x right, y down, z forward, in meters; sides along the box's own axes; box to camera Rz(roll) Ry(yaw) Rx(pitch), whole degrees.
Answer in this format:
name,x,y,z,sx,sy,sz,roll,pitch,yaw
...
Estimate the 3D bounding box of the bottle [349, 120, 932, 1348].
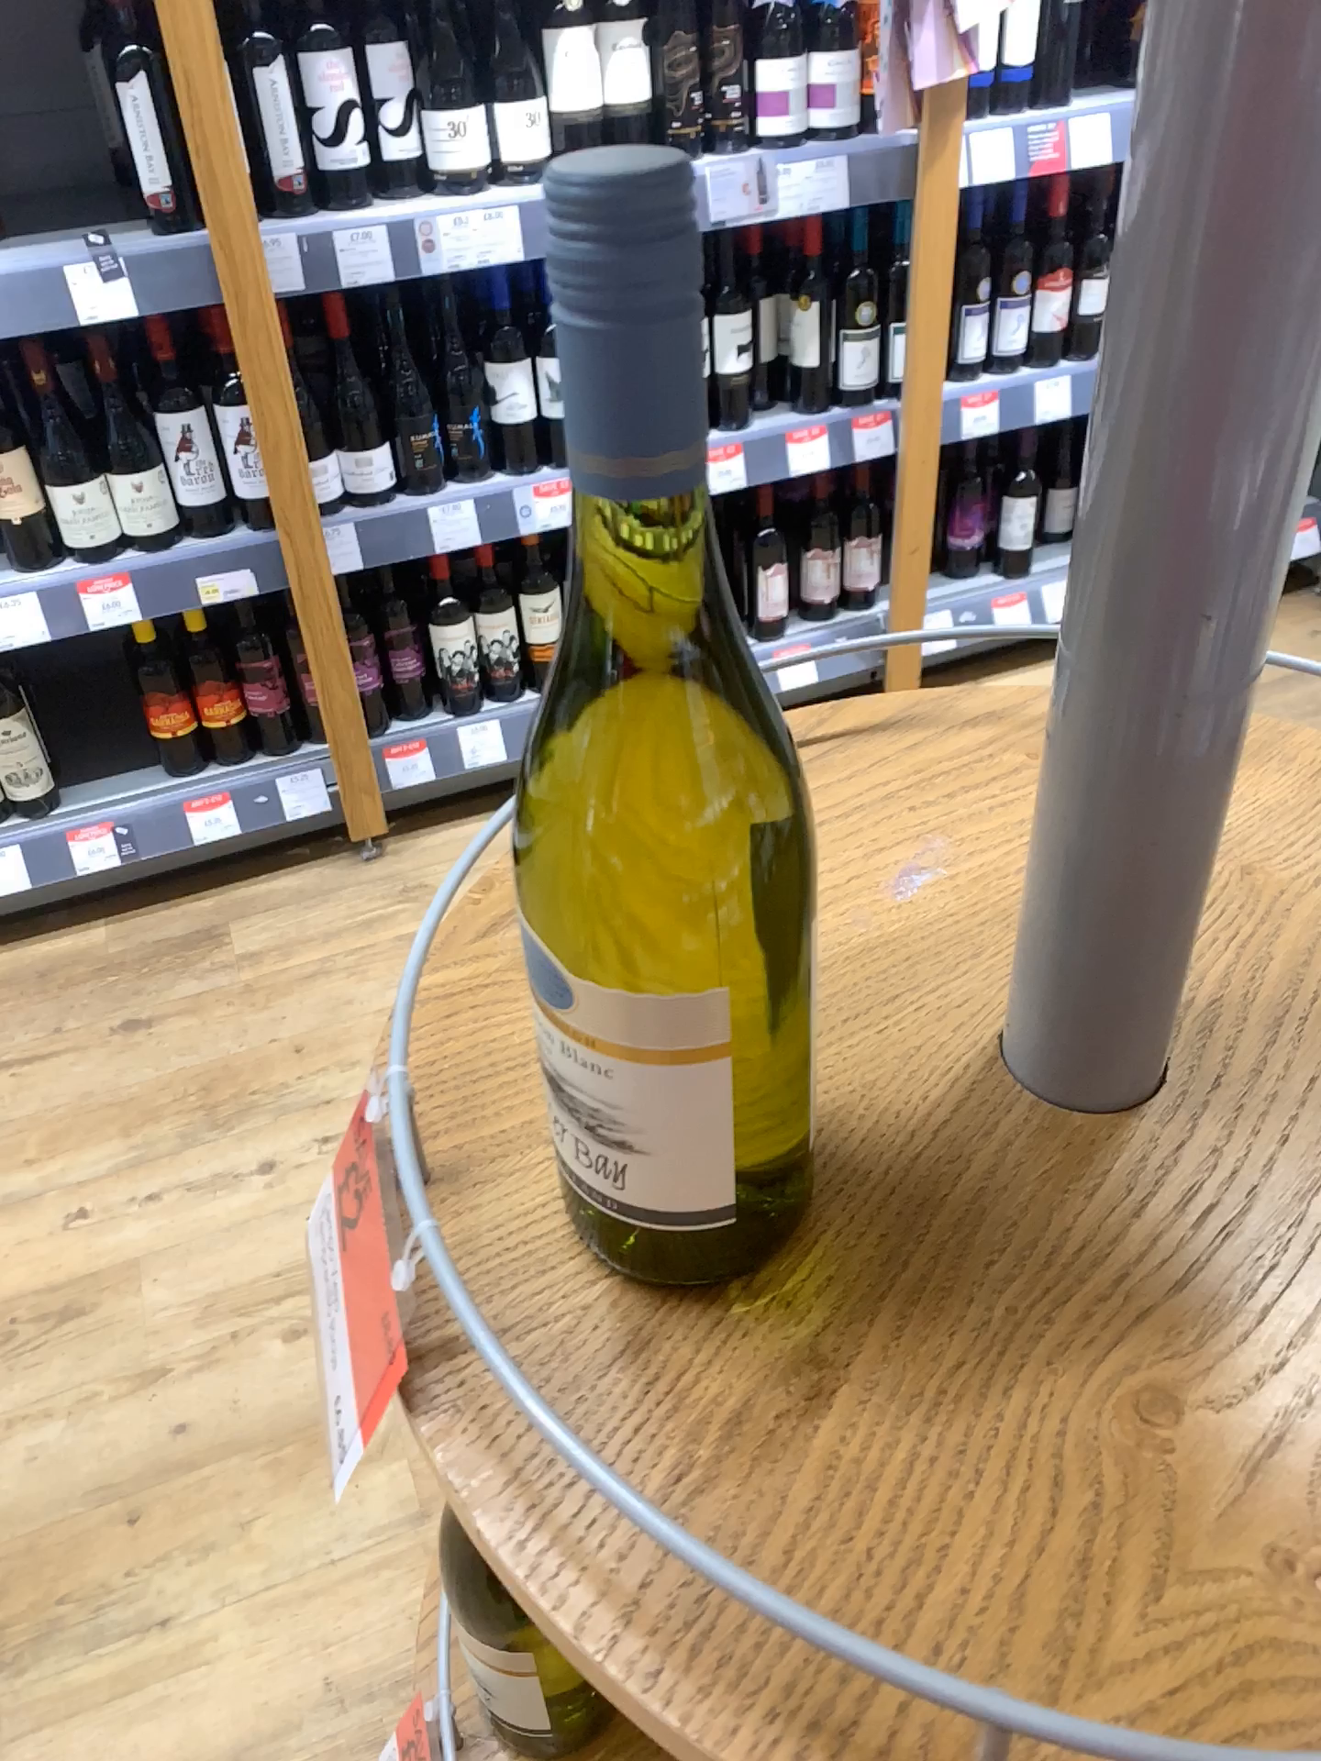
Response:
name,x,y,z,sx,sy,sz,roll,pitch,yaw
bottle,0.000,-0.016,0.332,0.080,0.284,0.081,-2,37,2
